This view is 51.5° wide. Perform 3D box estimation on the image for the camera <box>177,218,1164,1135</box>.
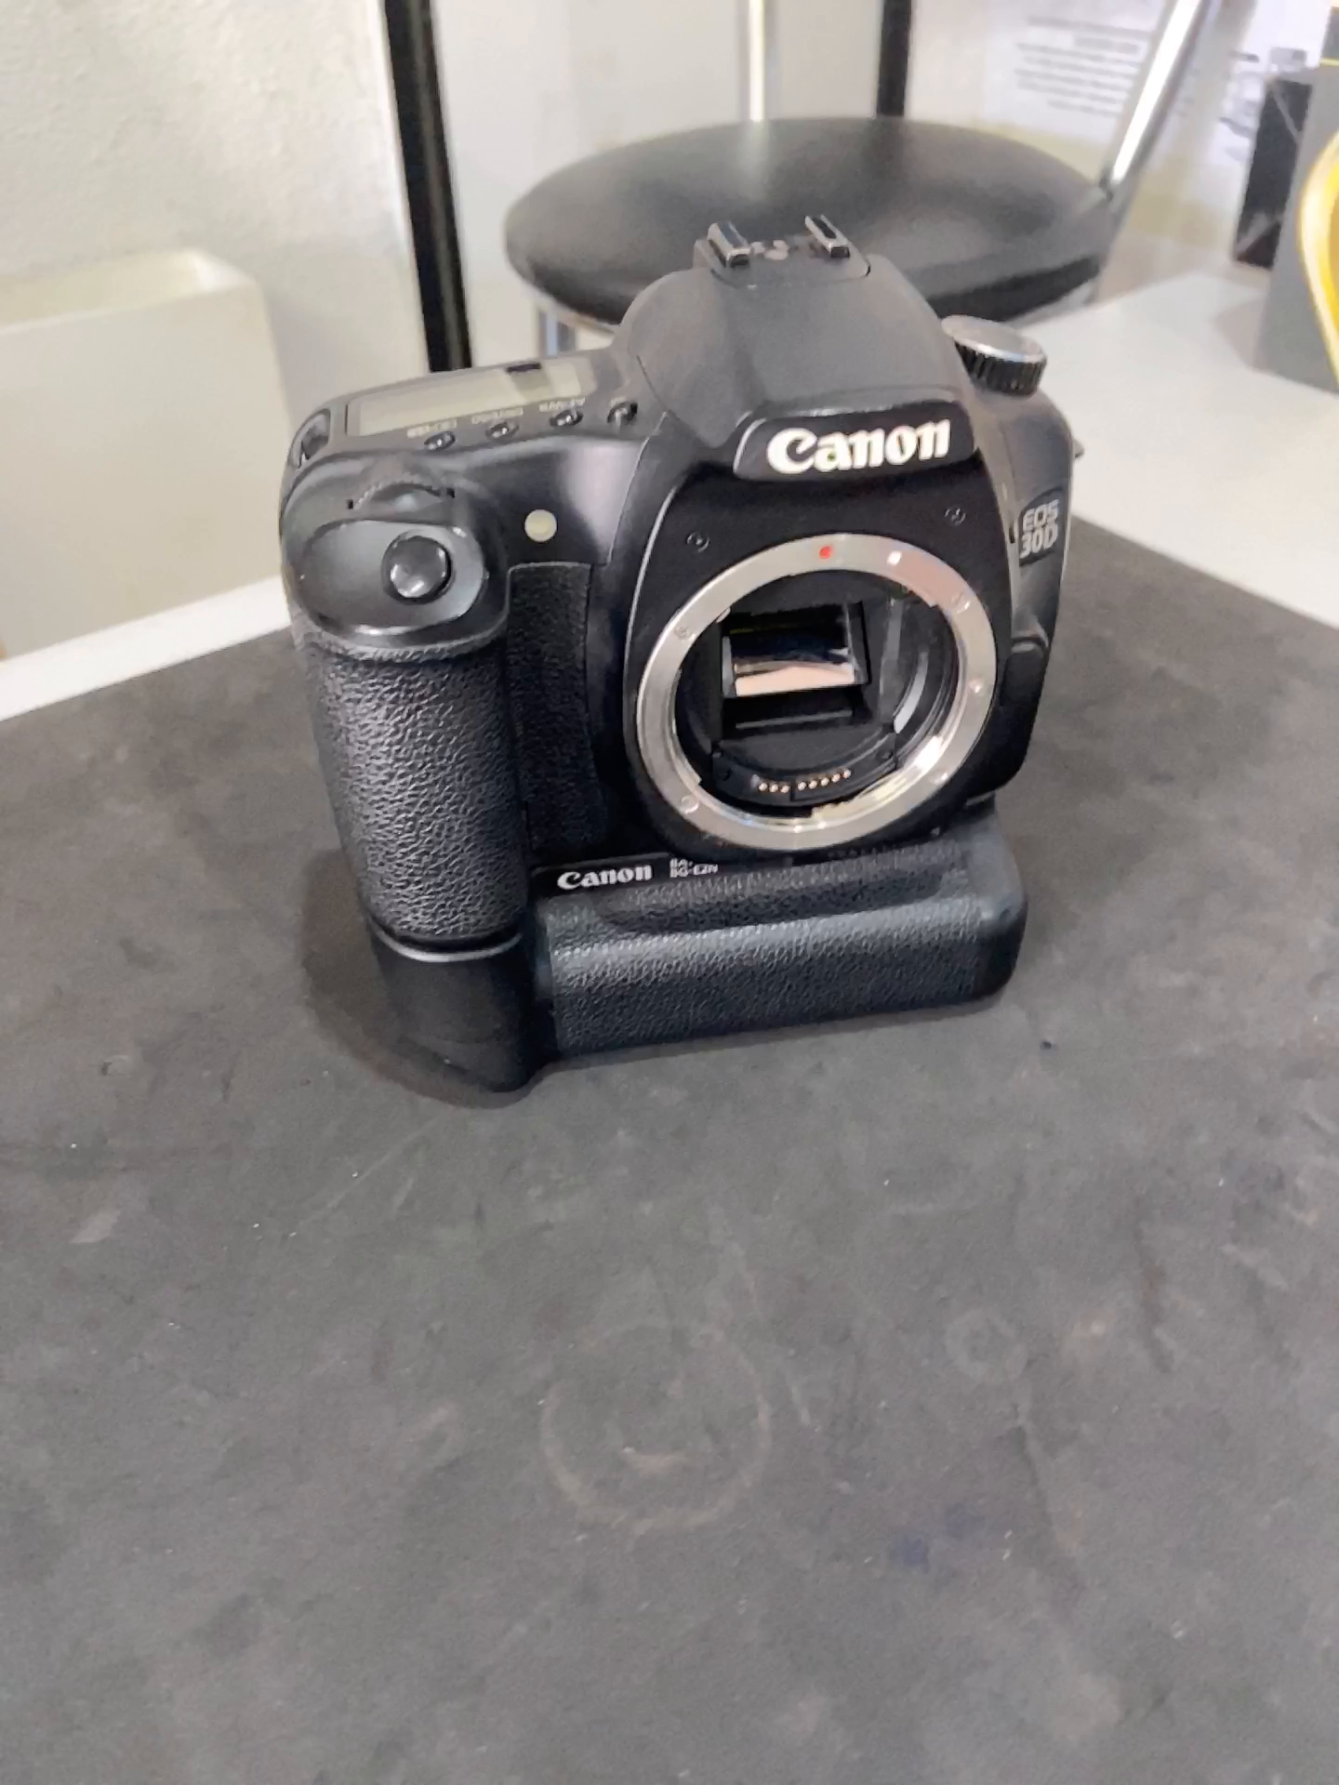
[{"bbox_3d":[-0.001,-0.040,0.269,0.140,0.139,0.080,-8,39,-5],"label":"camera"}]
